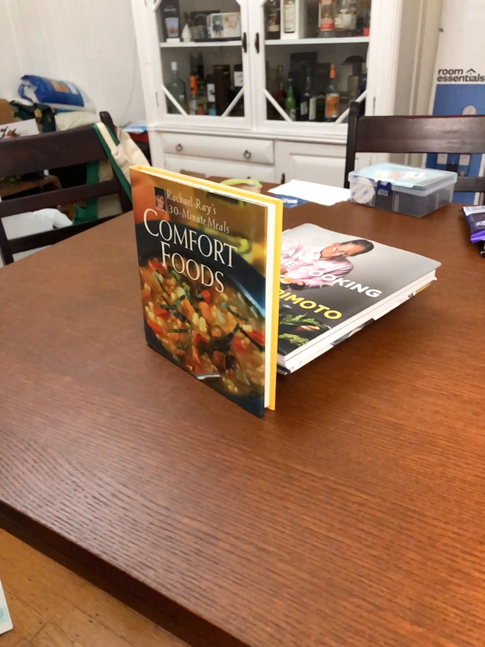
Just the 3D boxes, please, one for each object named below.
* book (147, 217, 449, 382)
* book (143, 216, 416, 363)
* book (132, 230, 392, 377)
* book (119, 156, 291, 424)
[{"bbox_3d":[0.068,-0.051,0.629,0.281,0.030,0.221,-29,38,-36],"label":"book"},{"bbox_3d":[0.054,-0.064,0.685,0.220,0.030,0.281,20,38,36],"label":"book"},{"bbox_3d":[0.034,-0.047,0.712,0.220,0.030,0.281,19,37,34],"label":"book"},{"bbox_3d":[-0.042,-0.040,0.529,0.030,0.209,0.211,-23,36,-36],"label":"book"}]
